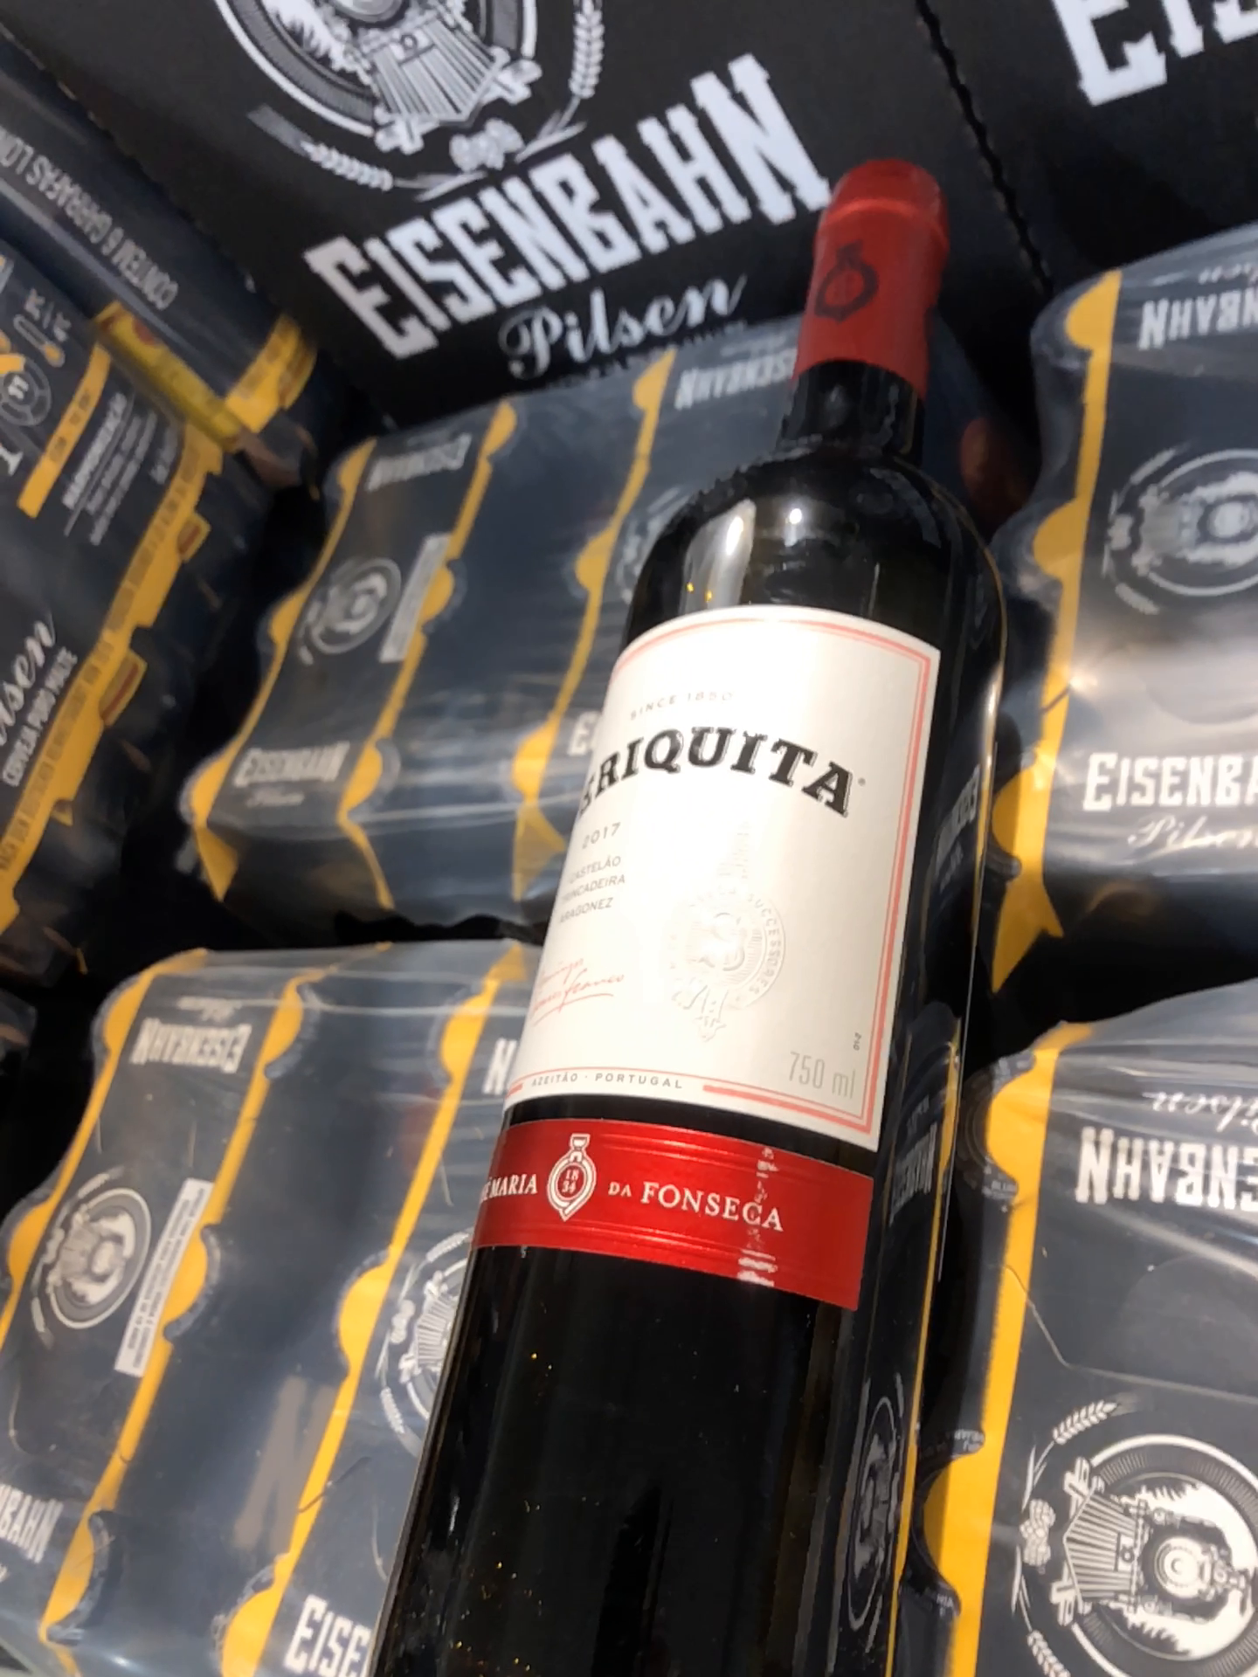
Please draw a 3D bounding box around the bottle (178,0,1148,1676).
[{"bbox_3d":[0.031,-0.018,0.242,0.080,0.070,0.331,-5,60,34],"label":"bottle"}]
